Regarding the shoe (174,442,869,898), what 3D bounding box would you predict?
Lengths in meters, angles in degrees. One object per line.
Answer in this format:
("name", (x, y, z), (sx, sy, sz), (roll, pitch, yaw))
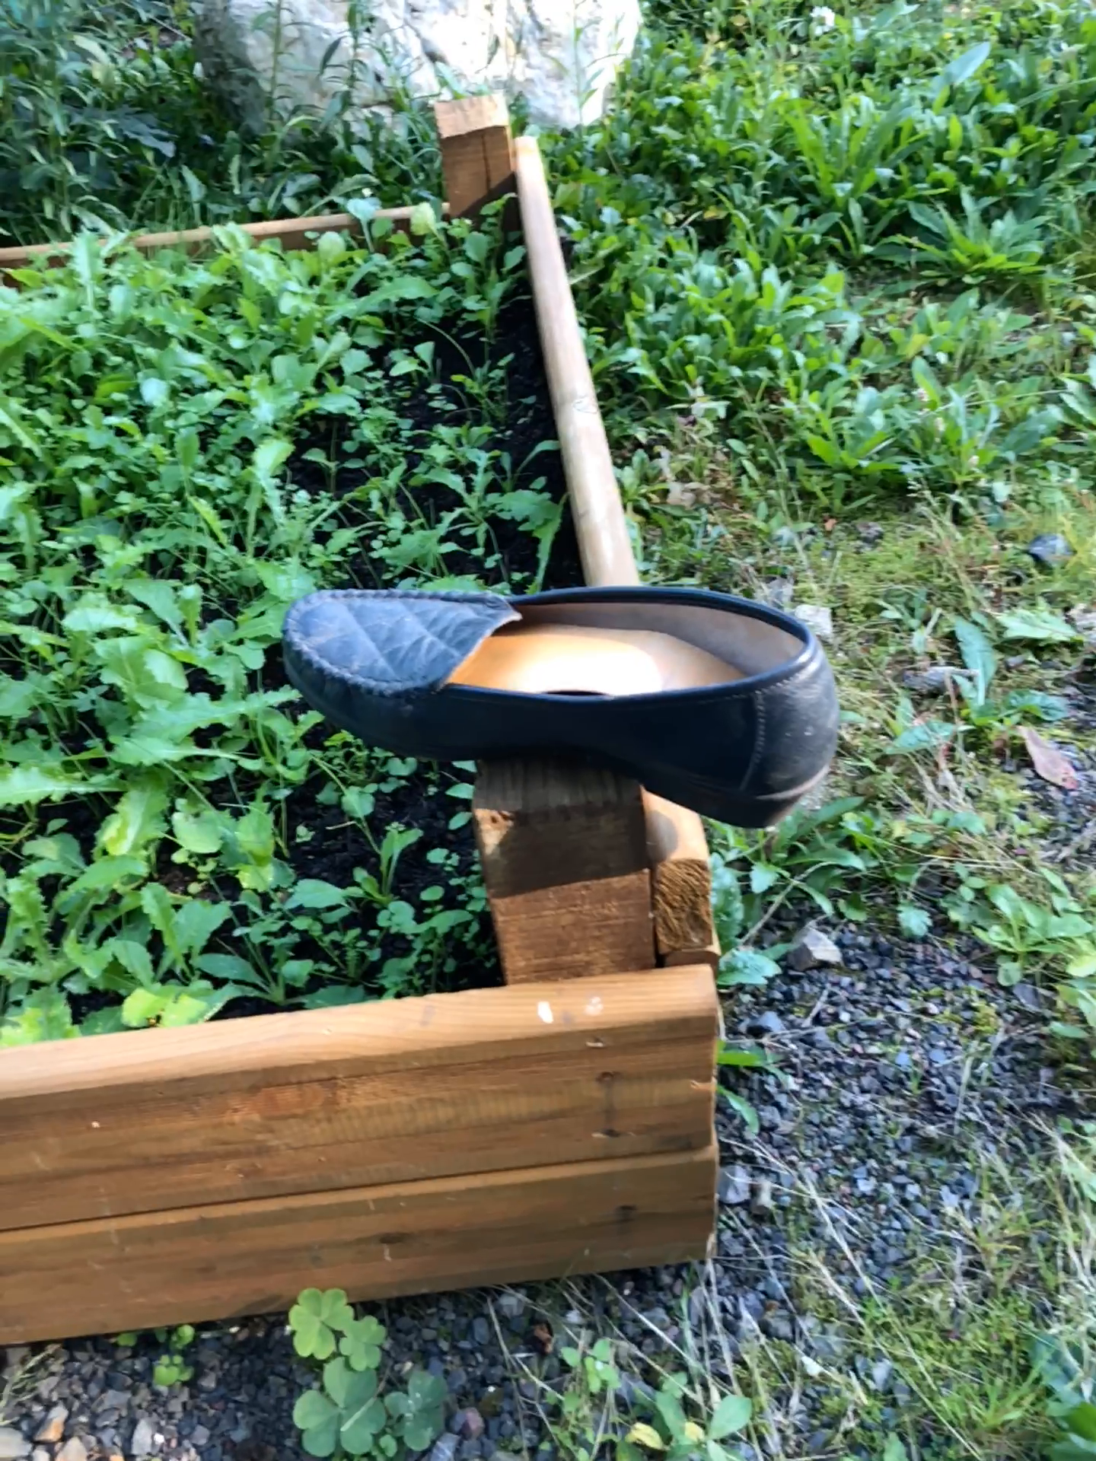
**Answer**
("shoe", (-0.011, -0.032, 0.513), (0.260, 0.089, 0.101), (16, 47, 15))
